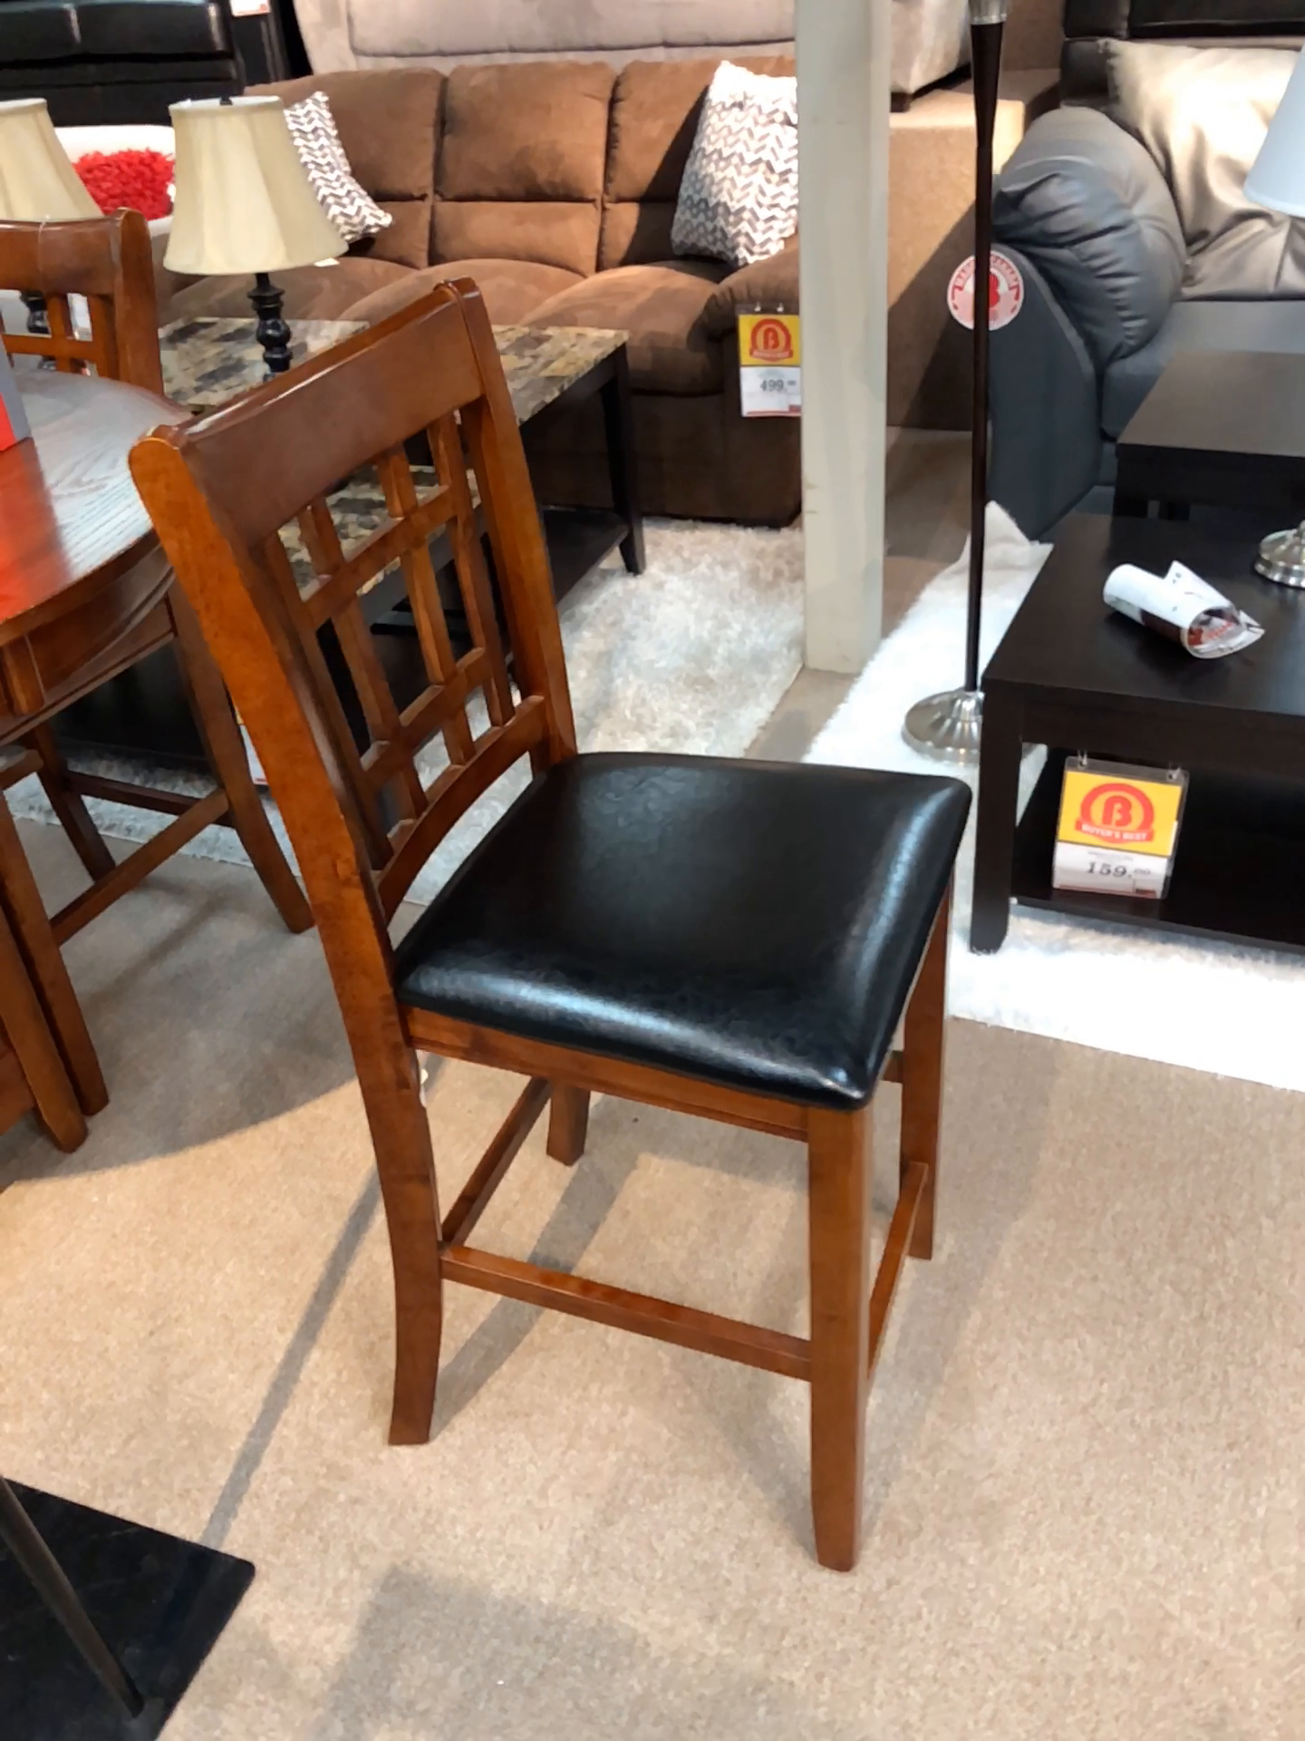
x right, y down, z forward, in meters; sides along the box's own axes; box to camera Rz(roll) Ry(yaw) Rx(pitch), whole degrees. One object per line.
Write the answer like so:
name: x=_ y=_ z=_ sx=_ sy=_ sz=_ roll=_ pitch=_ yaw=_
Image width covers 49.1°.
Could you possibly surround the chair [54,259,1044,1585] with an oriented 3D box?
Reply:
chair: x=-0.004 y=0.043 z=1.219 sx=0.521 sy=0.963 sz=0.473 roll=8 pitch=35 yaw=19
